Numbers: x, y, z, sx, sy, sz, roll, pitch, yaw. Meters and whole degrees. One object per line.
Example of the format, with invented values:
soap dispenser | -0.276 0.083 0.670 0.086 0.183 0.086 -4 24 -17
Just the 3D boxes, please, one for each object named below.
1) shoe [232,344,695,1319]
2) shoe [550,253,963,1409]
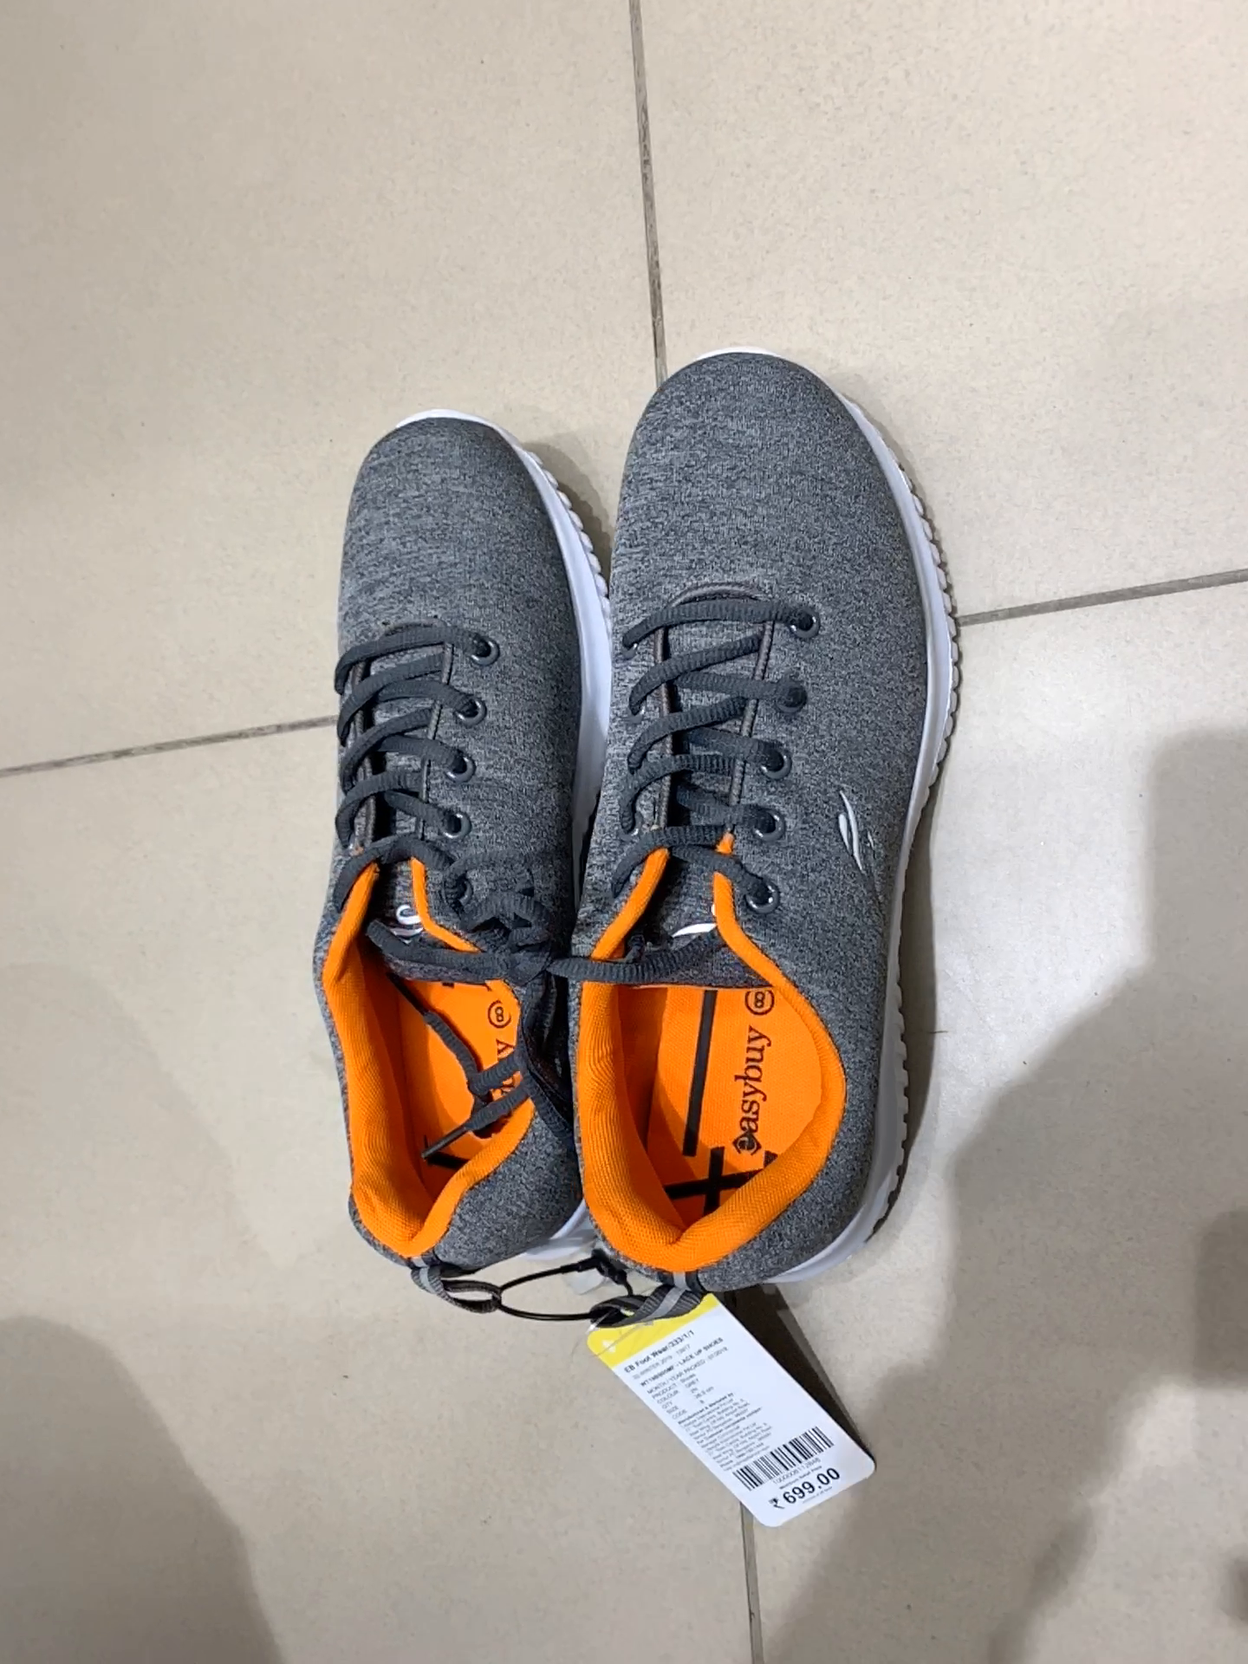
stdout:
shoe | -0.052 0.004 0.425 0.100 0.090 0.280 -8 83 23
shoe | 0.043 -0.001 0.393 0.100 0.090 0.300 -2 85 23
